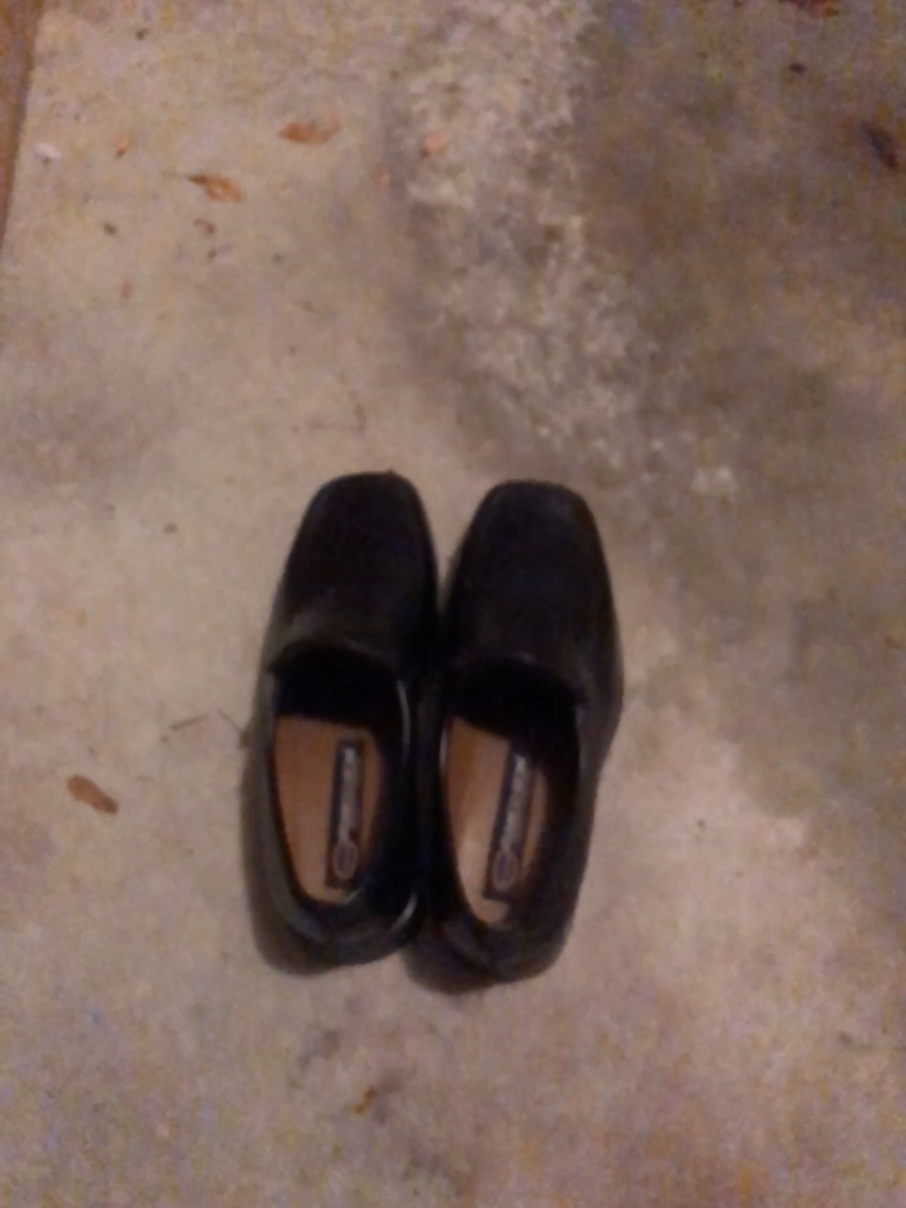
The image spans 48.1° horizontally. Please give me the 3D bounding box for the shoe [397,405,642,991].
[{"bbox_3d":[0.042,0.046,0.532,0.101,0.113,0.279,3,66,5],"label":"shoe"}]

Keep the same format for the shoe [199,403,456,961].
[{"bbox_3d":[-0.057,0.041,0.541,0.104,0.113,0.269,-3,65,3],"label":"shoe"}]
